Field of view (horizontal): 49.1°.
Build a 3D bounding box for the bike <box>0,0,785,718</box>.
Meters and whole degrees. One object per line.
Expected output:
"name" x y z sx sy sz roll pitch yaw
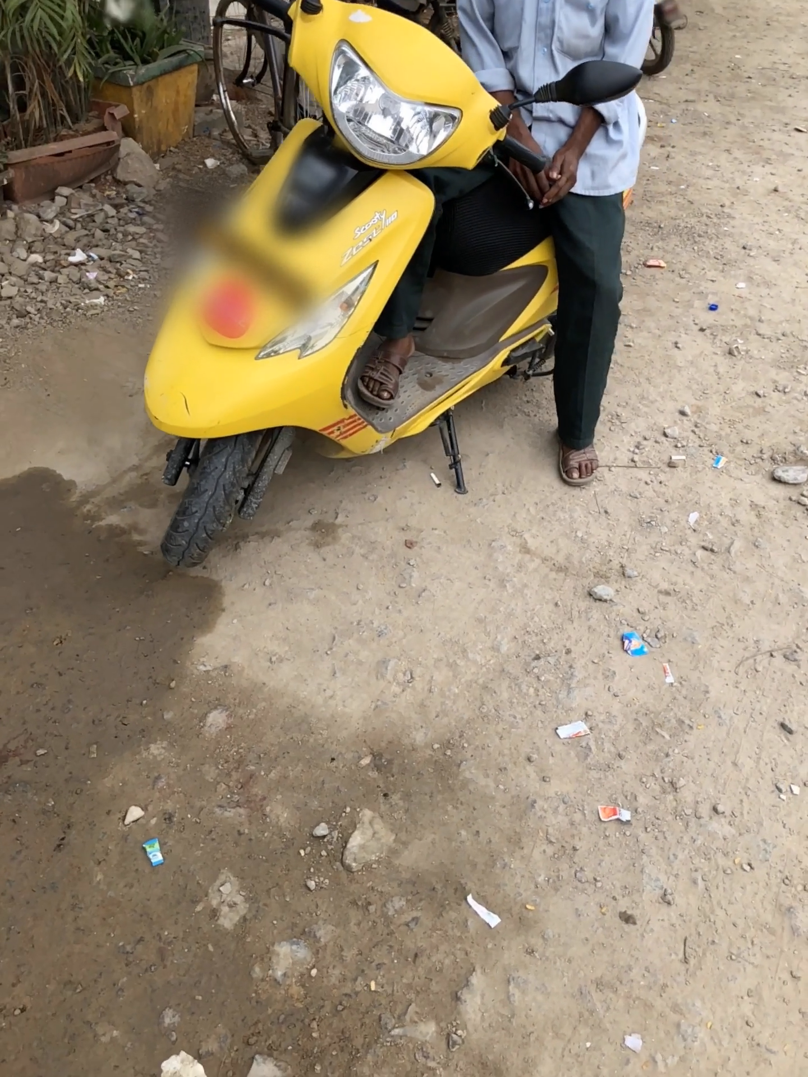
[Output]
"bike" 0.036 -0.668 2.246 0.889 1.160 1.663 28 47 27
